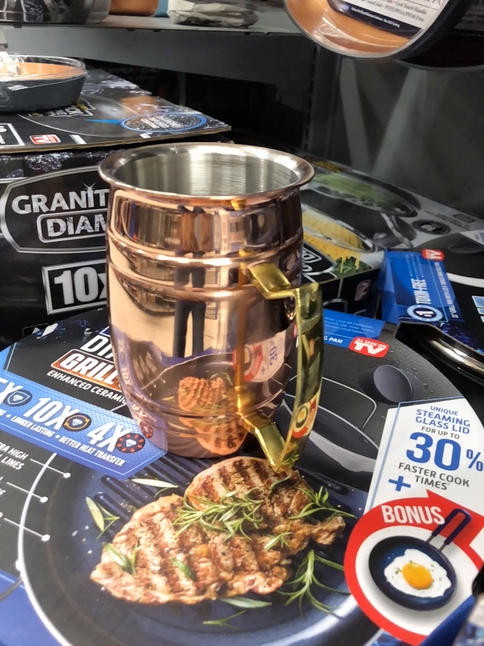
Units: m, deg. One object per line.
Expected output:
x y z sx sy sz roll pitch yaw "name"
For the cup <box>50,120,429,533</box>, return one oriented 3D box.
-0.008 -0.011 0.246 0.086 0.126 0.127 -25 41 -38 "cup"
